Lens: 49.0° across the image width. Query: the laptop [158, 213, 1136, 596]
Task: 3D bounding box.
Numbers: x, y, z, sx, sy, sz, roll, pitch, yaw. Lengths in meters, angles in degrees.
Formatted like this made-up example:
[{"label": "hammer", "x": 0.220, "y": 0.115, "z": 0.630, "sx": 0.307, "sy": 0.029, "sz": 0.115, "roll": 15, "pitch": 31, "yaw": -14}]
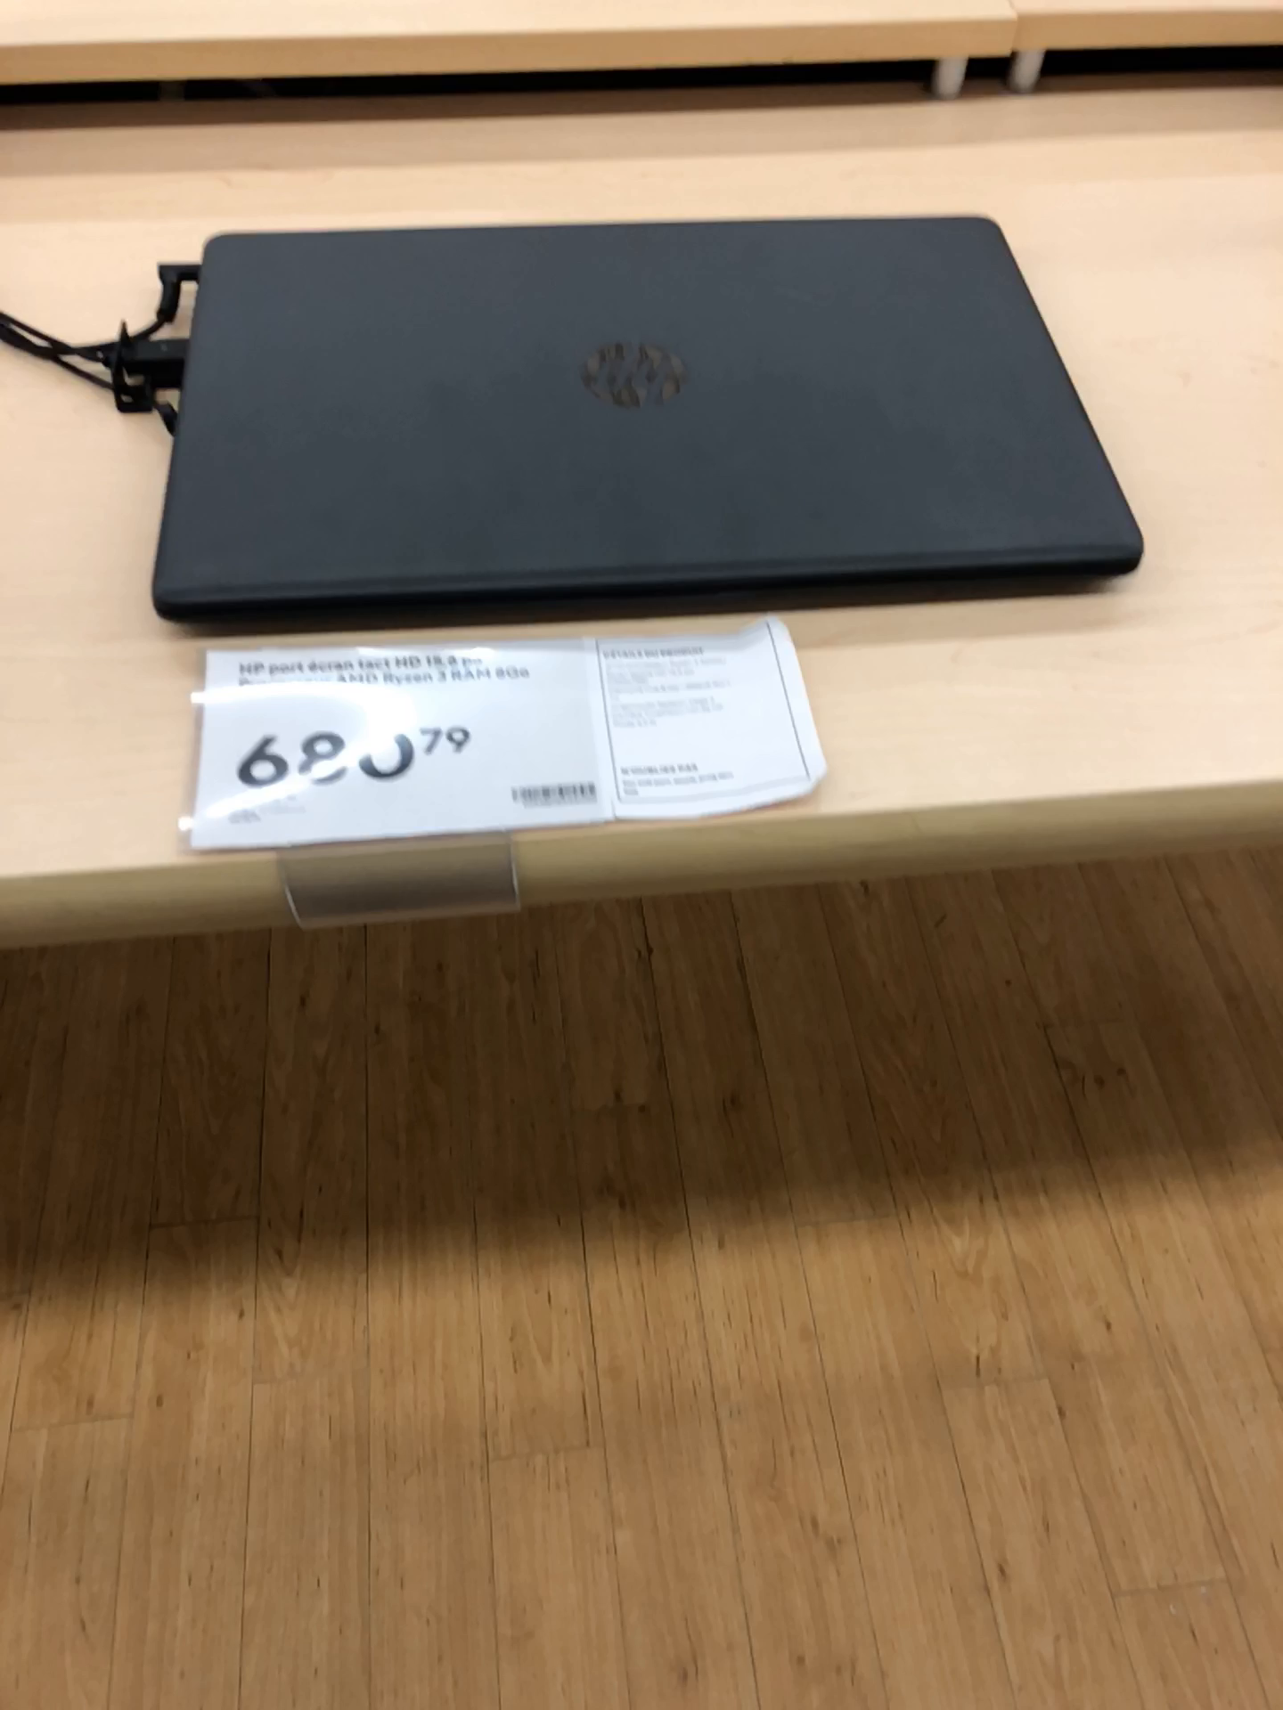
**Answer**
[{"label": "laptop", "x": -0.004, "y": -0.207, "z": 0.609, "sx": 0.373, "sy": 0.005, "sz": 0.245, "roll": -4, "pitch": 53, "yaw": -5}]
